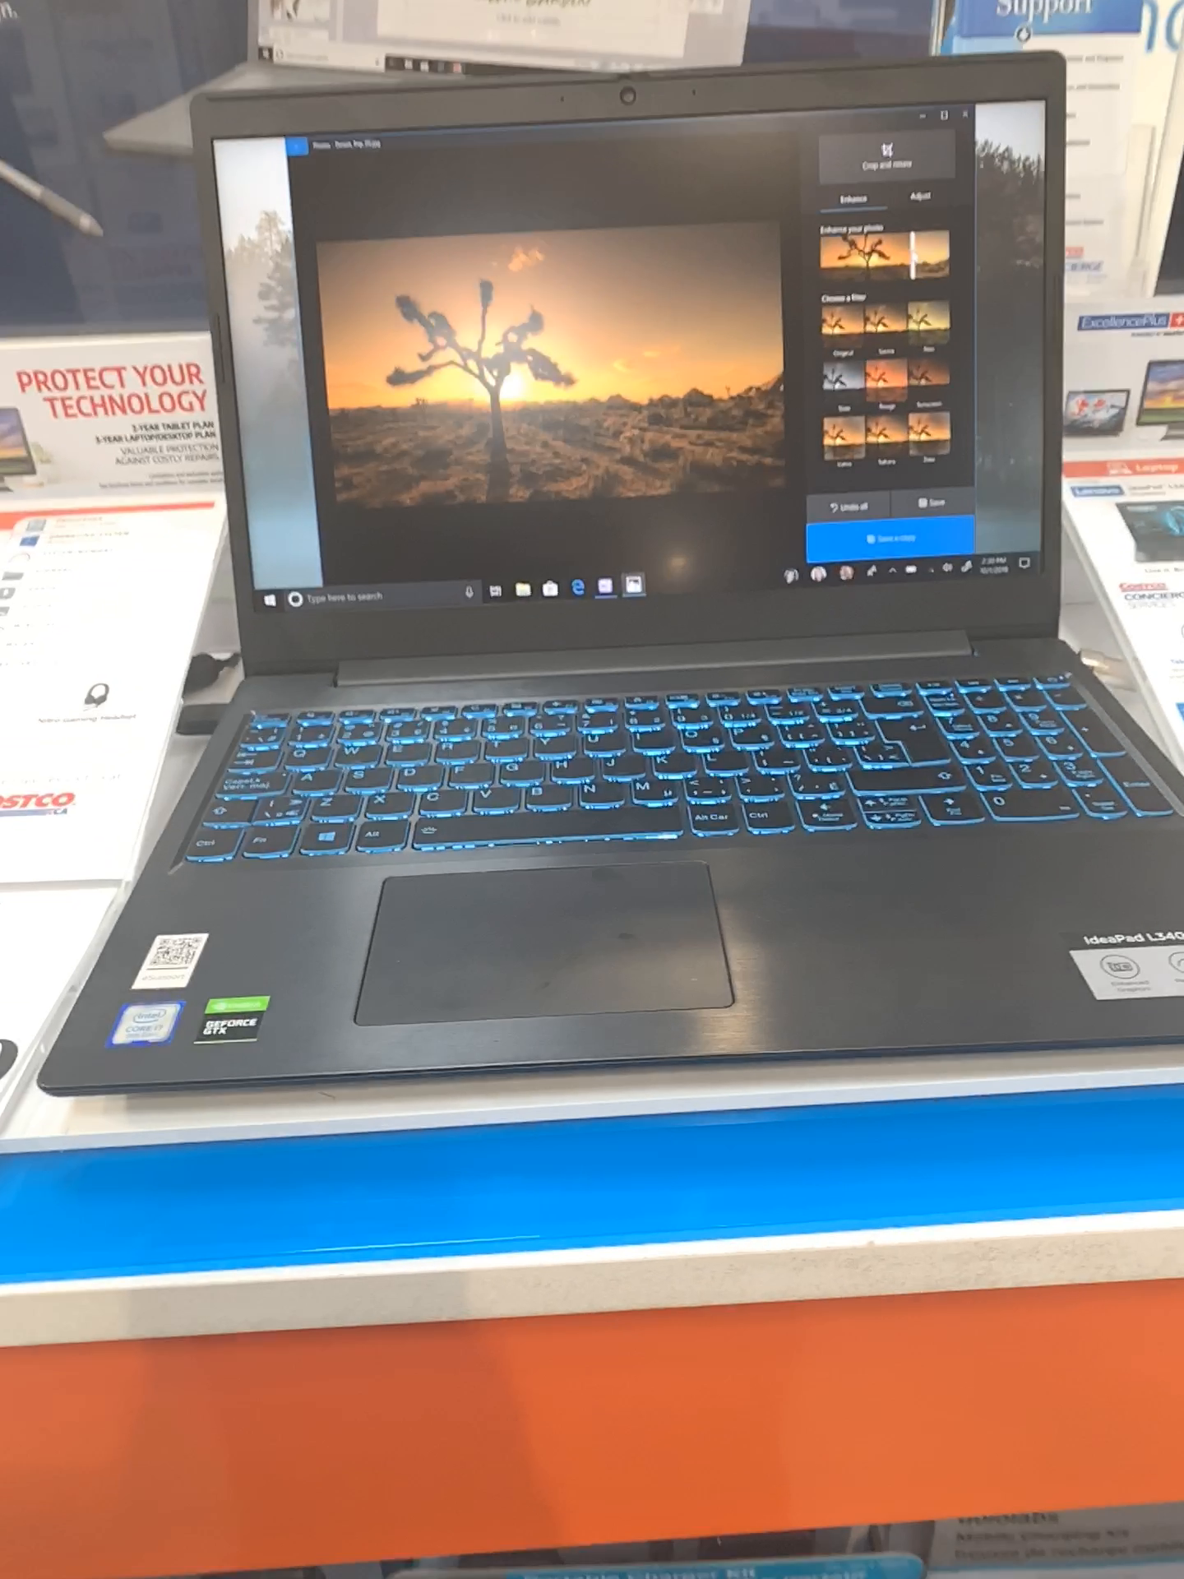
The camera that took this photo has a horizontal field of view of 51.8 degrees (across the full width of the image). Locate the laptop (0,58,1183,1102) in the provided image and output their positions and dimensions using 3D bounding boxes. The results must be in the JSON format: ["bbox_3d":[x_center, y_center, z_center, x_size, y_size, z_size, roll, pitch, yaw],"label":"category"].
[{"bbox_3d":[0.031,-0.108,0.398,0.340,0.214,0.331,-2,31,-1],"label":"laptop"}]
